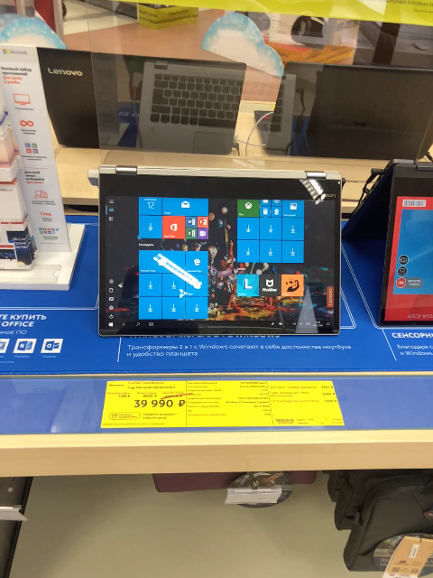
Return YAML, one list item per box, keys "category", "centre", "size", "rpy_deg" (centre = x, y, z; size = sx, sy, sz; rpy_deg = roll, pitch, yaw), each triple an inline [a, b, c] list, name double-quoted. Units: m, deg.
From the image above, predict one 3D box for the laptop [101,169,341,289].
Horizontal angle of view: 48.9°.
- category: "laptop"
  centre: [-0.007, -0.082, 0.828]
  size: [0.336, 0.150, 0.211]
  rpy_deg: [1, 10, -4]
